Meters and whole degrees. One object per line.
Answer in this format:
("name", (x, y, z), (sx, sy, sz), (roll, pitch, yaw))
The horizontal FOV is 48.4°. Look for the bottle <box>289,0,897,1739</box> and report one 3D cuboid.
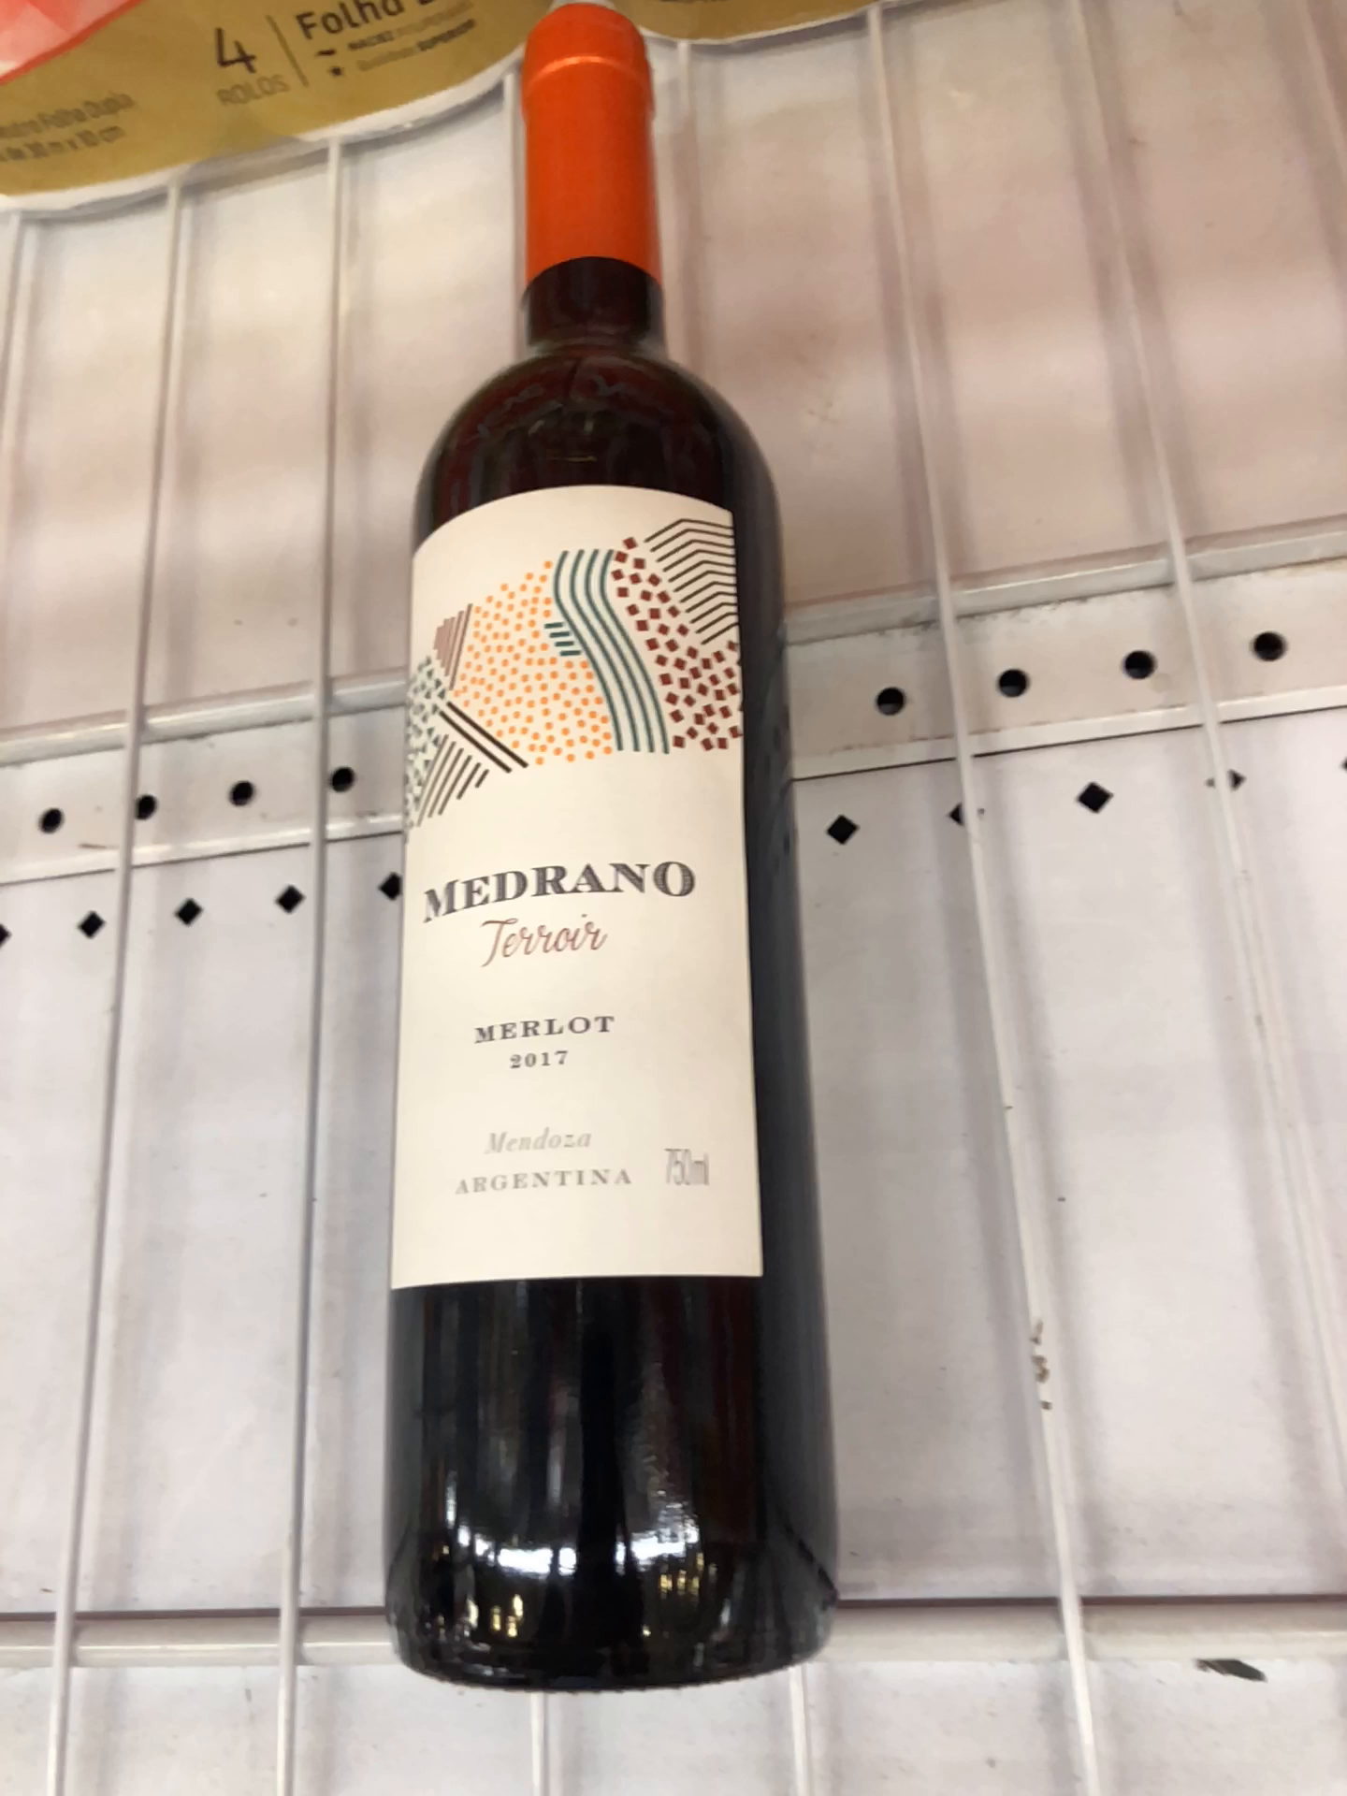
("bottle", (-0.012, -0.031, 0.292), (0.080, 0.070, 0.331), (-6, 70, 12))
